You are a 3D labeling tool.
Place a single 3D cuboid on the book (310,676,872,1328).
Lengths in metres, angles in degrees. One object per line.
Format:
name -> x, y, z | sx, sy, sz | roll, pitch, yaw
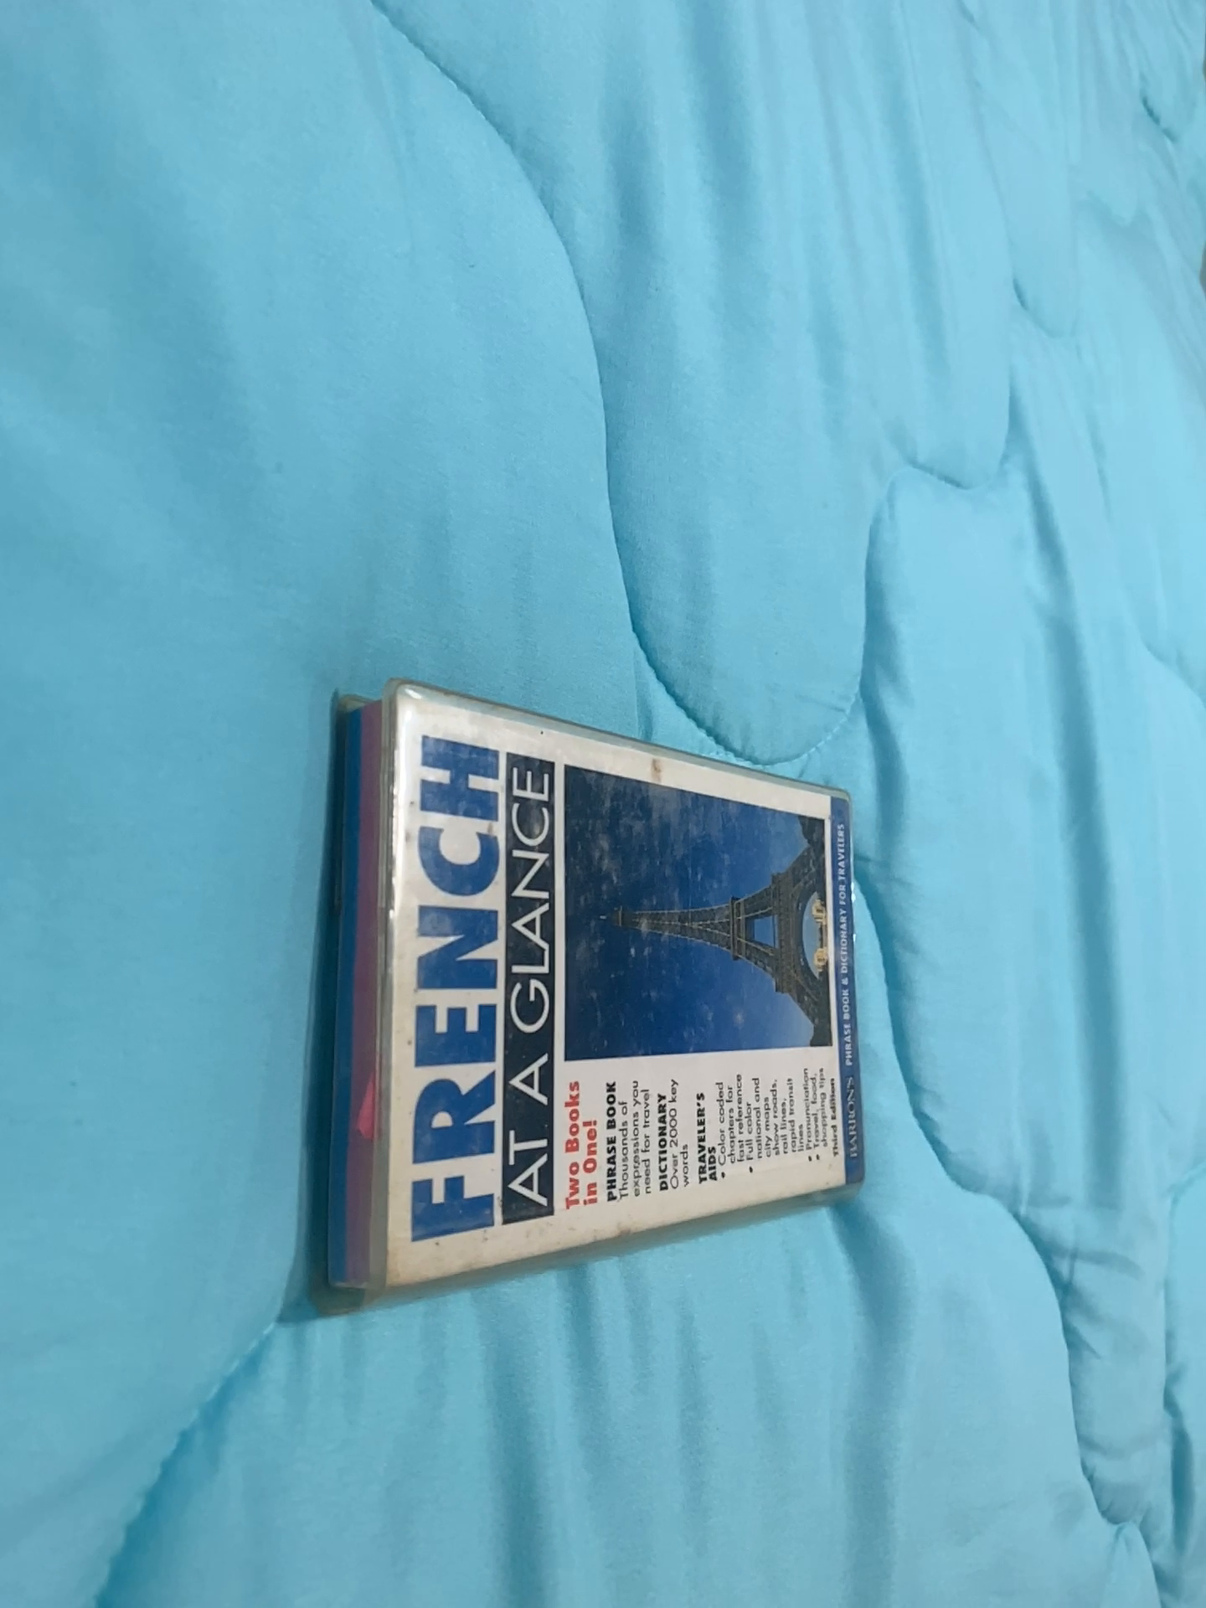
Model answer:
book -> 0.009, 0.037, 0.255 | 0.155, 0.017, 0.099 | 9, 78, -50
